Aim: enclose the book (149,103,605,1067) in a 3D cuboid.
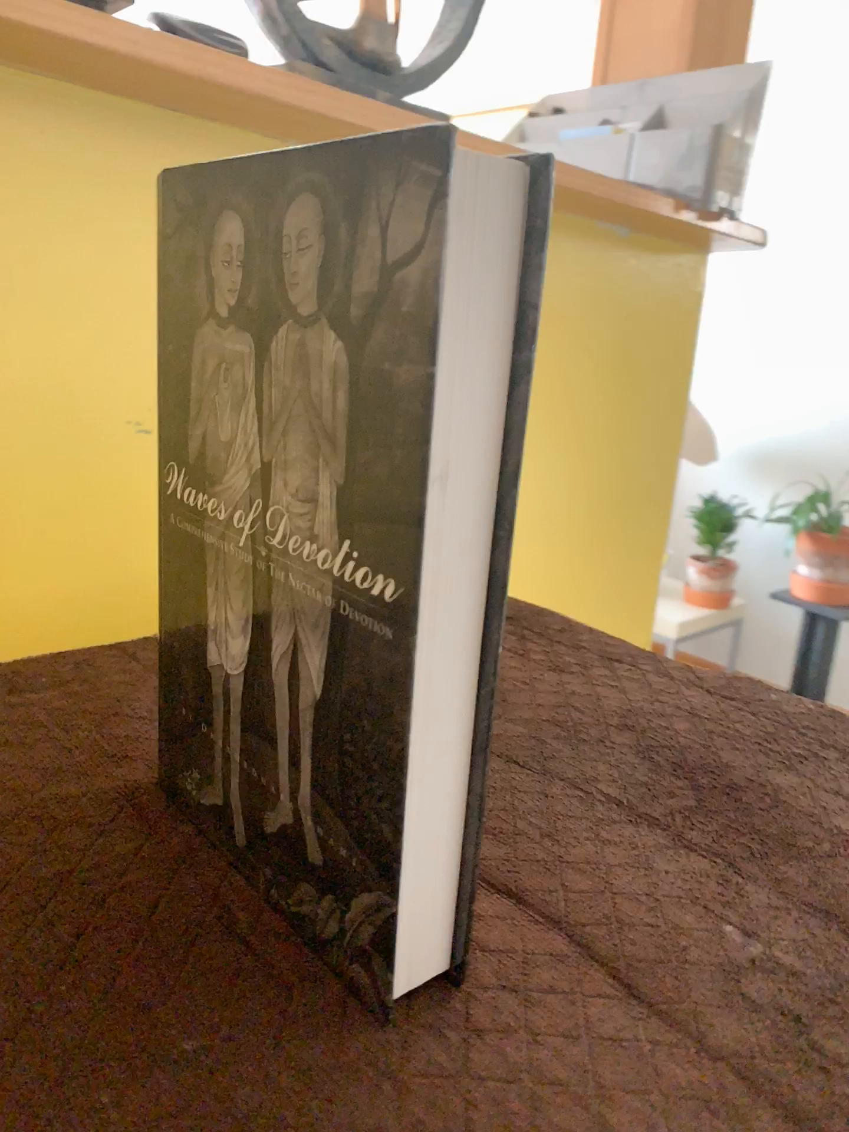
[{"bbox_3d":[-0.031,-0.002,0.271,0.040,0.229,0.160,-9,20,-37],"label":"book"}]
